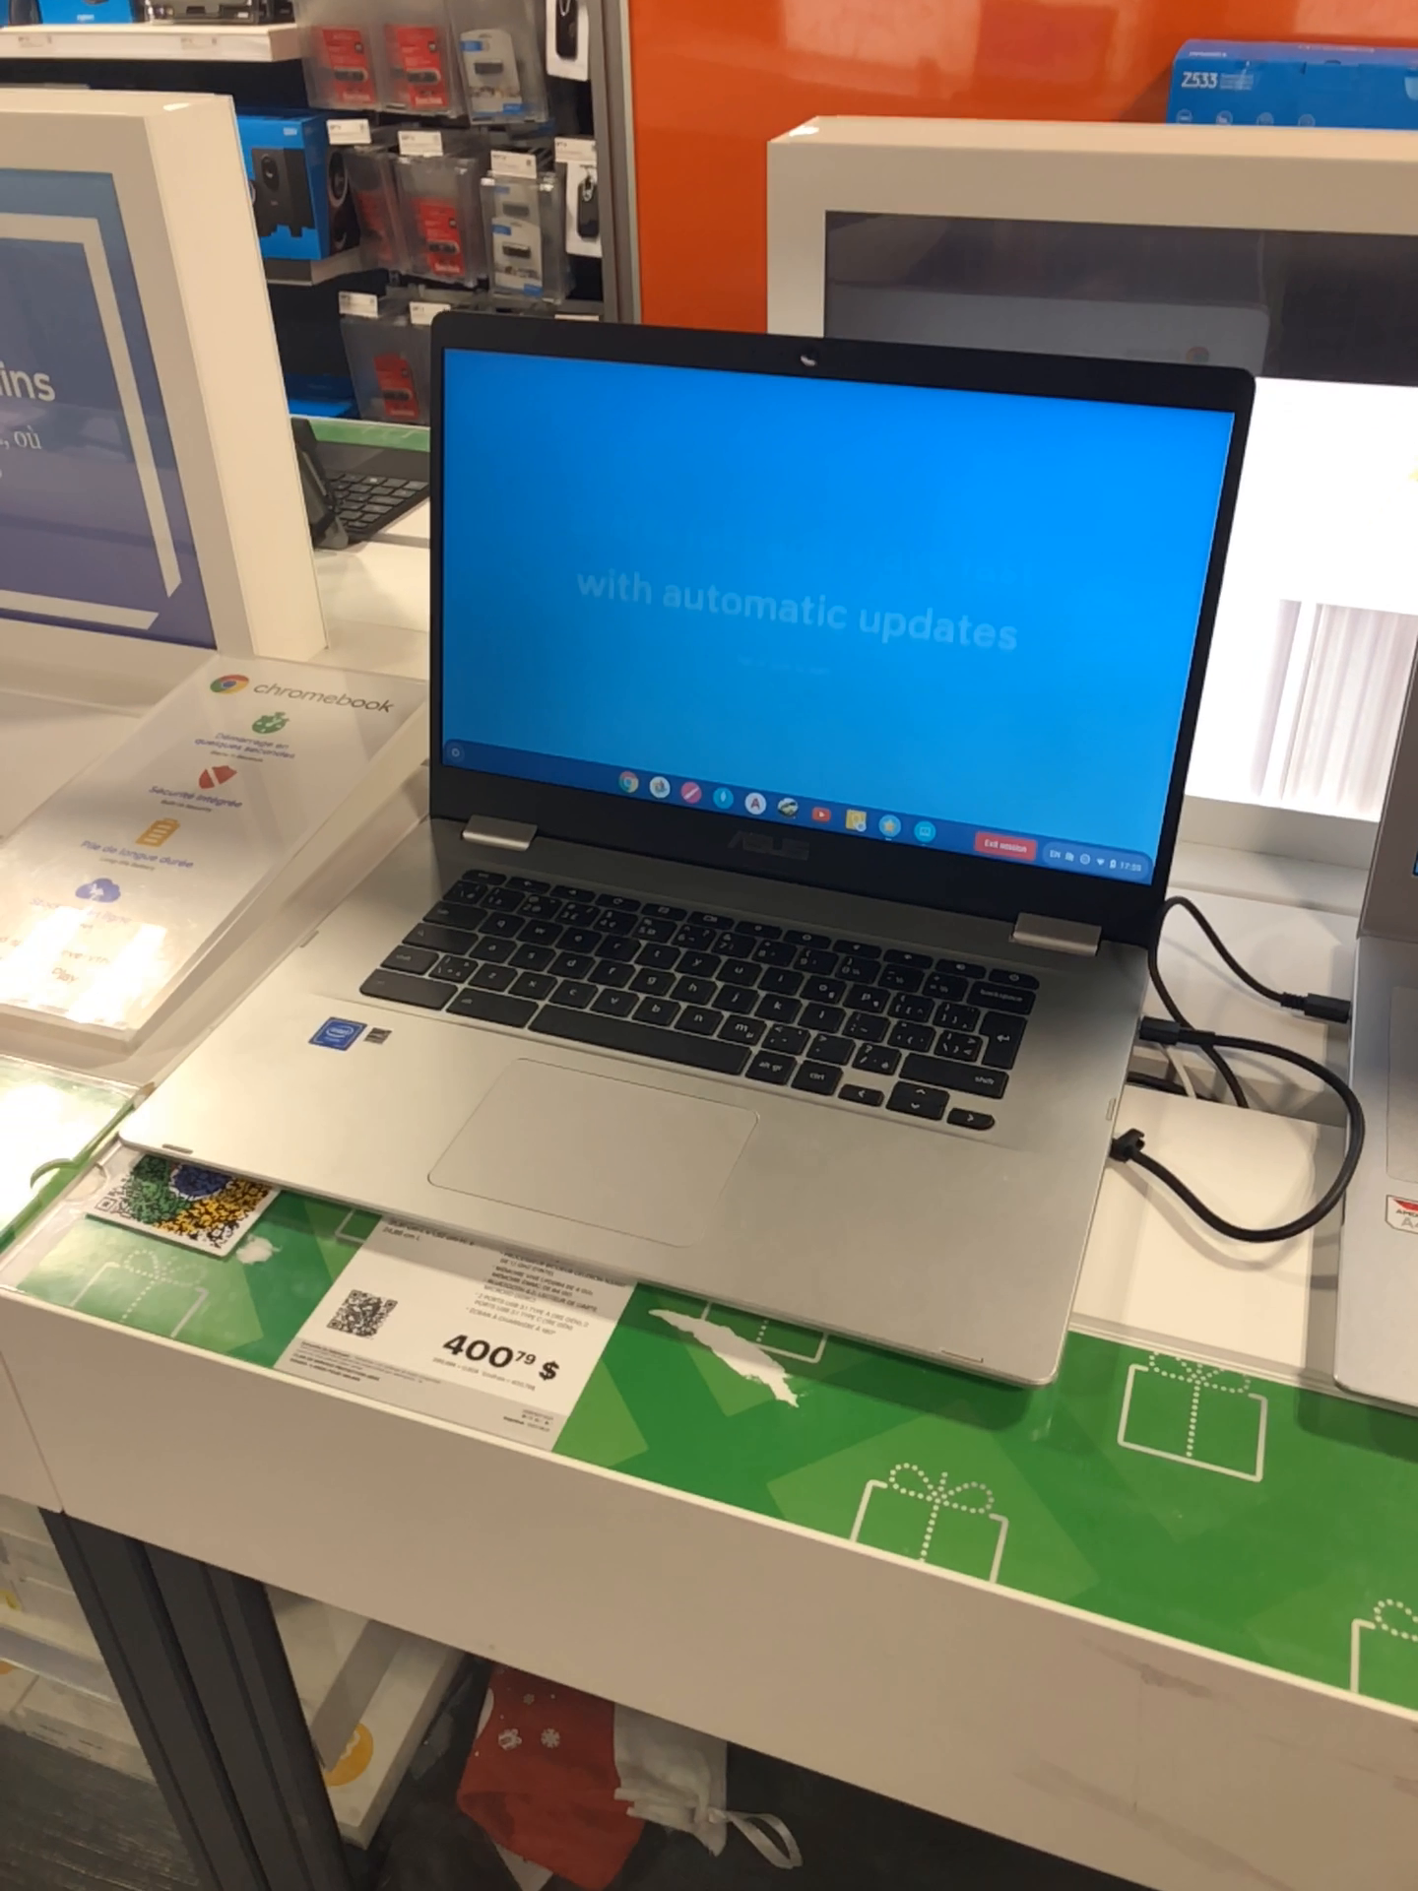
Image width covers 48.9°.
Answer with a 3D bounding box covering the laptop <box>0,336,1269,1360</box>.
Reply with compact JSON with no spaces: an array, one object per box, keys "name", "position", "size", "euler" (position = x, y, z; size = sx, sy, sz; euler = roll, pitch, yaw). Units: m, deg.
[{"name":"laptop","position":[-0.007,-0.067,0.574],"size":[0.337,0.225,0.287],"euler":[11,36,18]}]
